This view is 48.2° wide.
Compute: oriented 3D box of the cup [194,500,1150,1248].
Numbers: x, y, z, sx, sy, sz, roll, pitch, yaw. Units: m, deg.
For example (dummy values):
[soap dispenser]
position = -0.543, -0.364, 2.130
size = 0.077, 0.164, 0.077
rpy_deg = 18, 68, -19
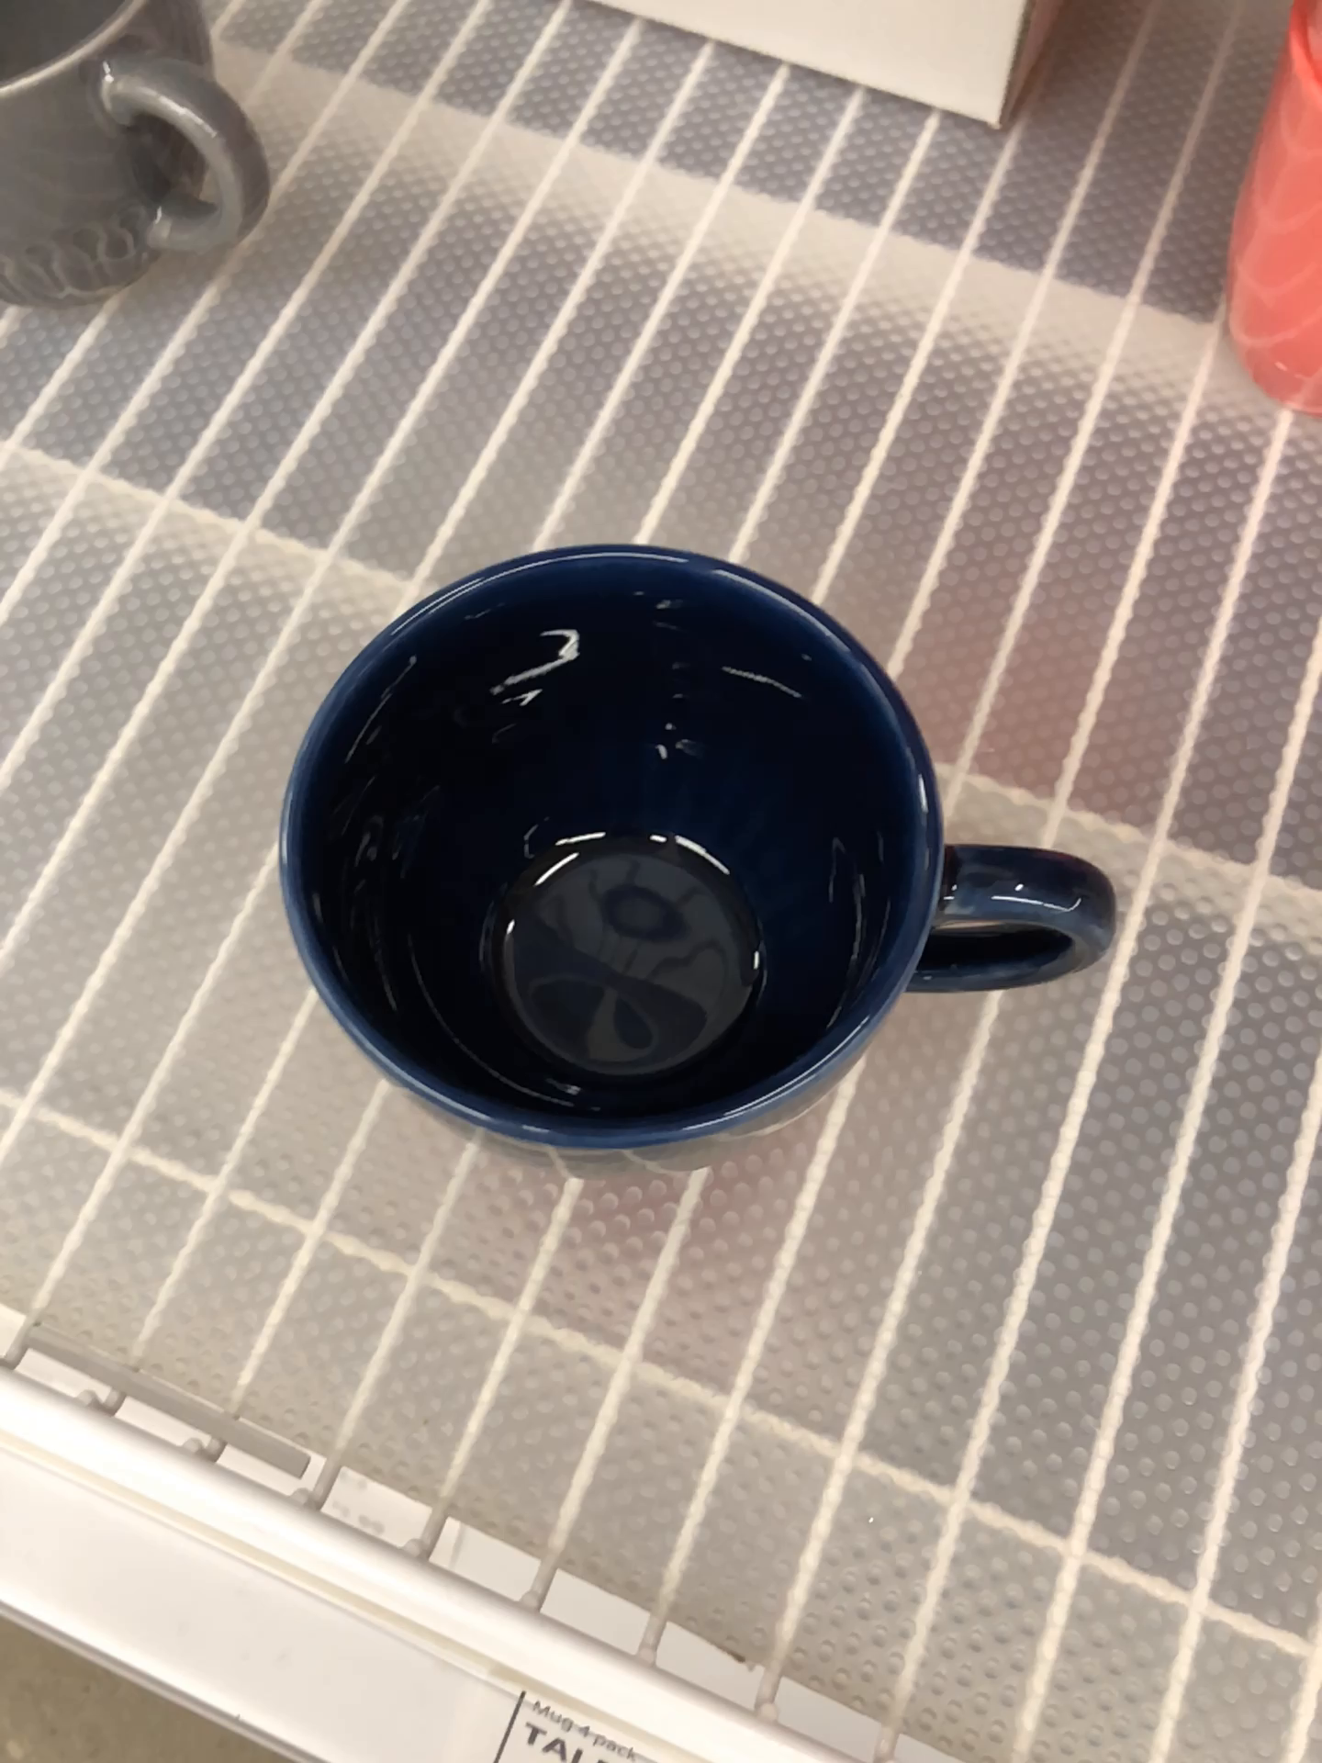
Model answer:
[cup]
position = 0.003, 0.000, 0.250
size = 0.130, 0.060, 0.110
rpy_deg = 1, 68, 1
